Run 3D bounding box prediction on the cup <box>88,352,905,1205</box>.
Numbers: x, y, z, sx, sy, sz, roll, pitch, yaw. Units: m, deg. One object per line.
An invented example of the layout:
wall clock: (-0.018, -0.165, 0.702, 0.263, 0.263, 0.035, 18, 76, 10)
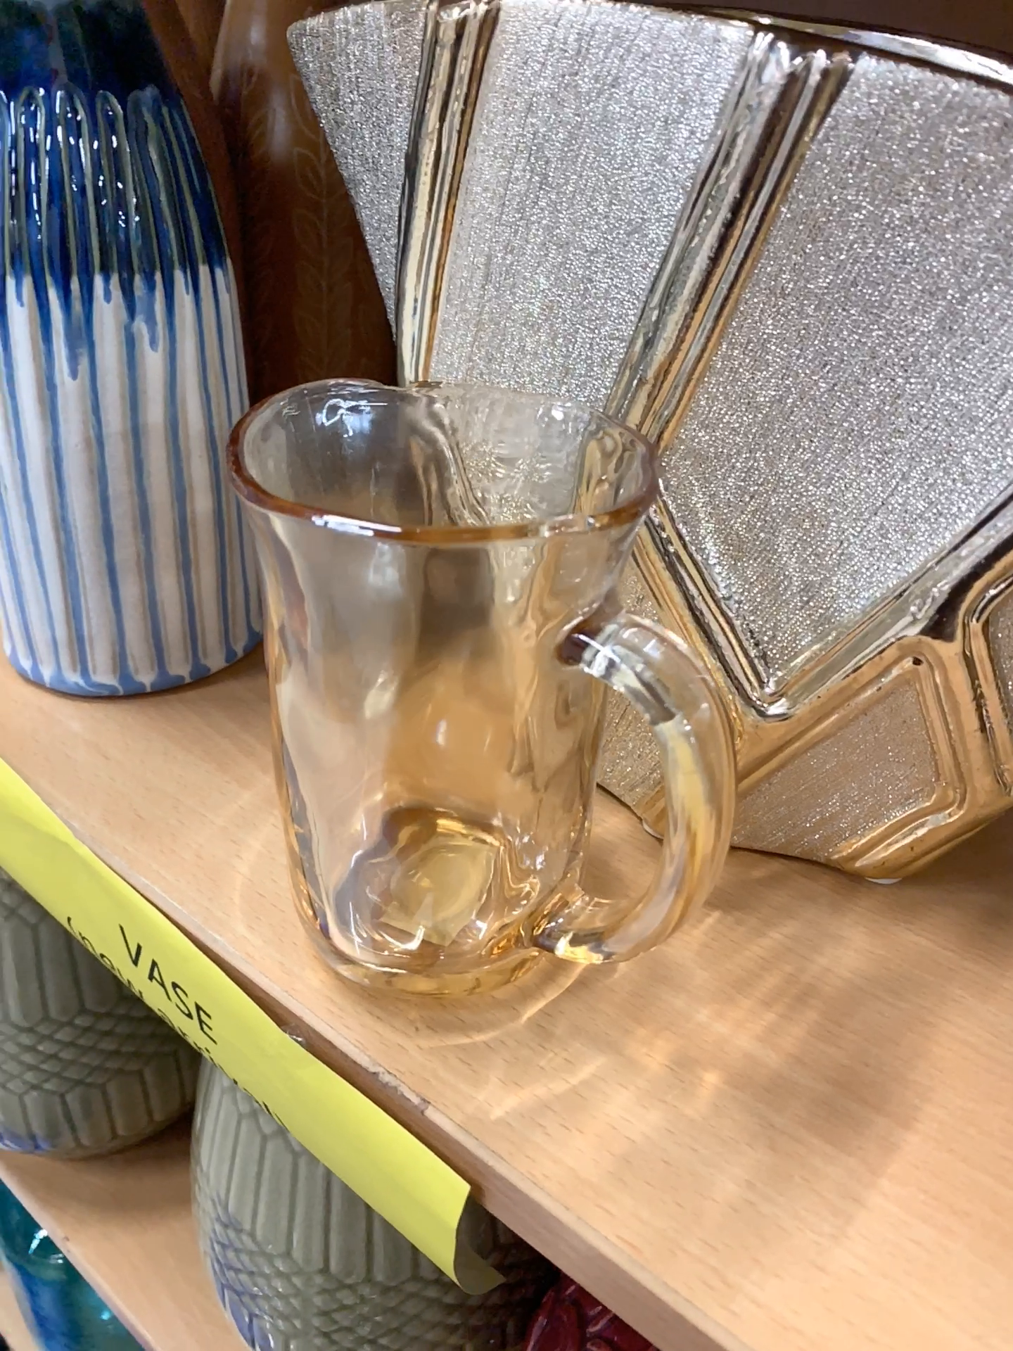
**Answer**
cup: (-0.006, 0.007, 0.199, 0.110, 0.100, 0.080, 27, 38, 33)
